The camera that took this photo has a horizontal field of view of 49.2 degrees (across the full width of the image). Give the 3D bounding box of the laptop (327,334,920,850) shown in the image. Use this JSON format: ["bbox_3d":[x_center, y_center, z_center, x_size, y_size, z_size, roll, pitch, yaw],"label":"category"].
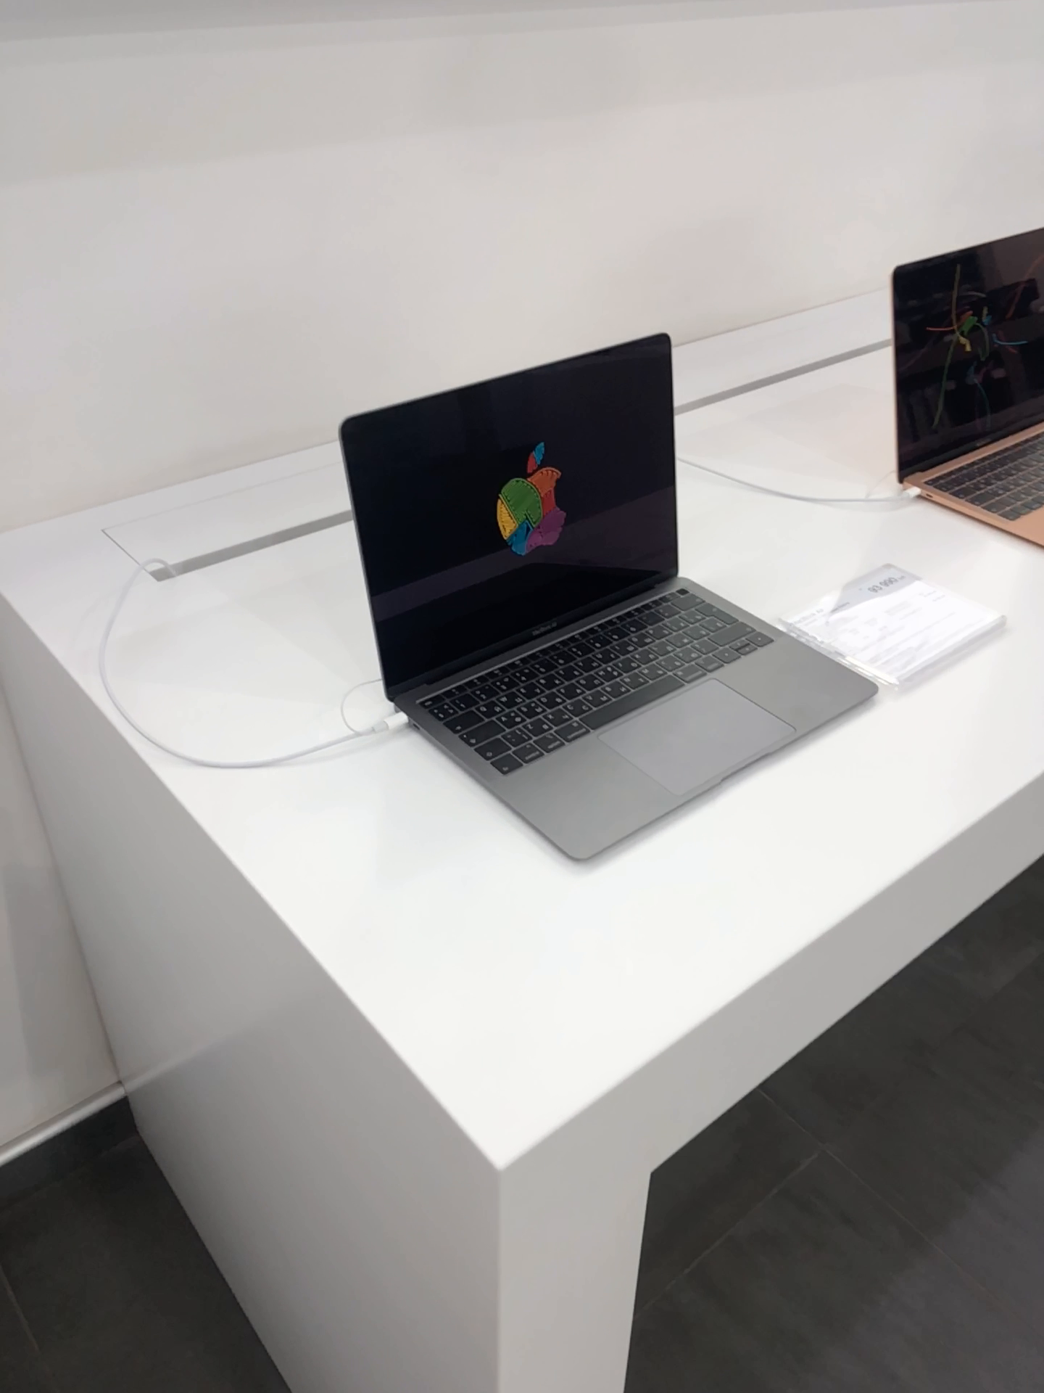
[{"bbox_3d":[0.065,-0.094,0.795,0.285,0.194,0.250,-25,43,-33],"label":"laptop"}]

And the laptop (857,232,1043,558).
[{"bbox_3d":[0.532,-0.309,1.108,0.294,0.184,0.261,-23,41,-31],"label":"laptop"}]
